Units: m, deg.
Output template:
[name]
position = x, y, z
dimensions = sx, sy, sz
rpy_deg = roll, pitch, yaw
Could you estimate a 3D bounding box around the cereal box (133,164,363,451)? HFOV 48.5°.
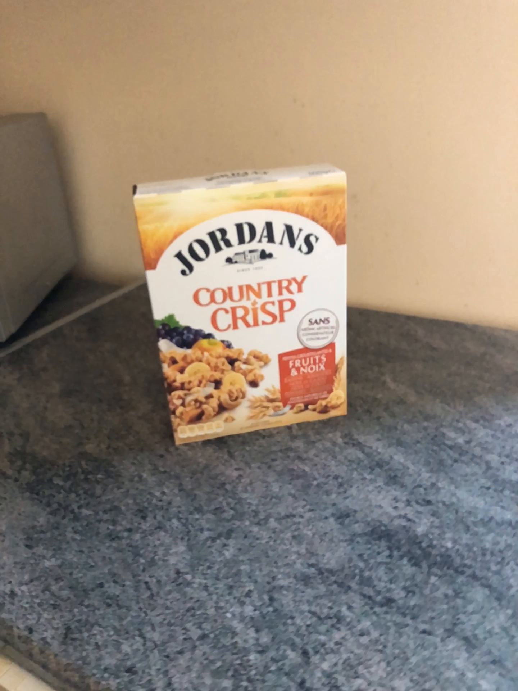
[cereal box]
position = -0.006, -0.033, 0.551
dimensions = 0.190, 0.249, 0.060
rpy_deg = -8, 27, -10
